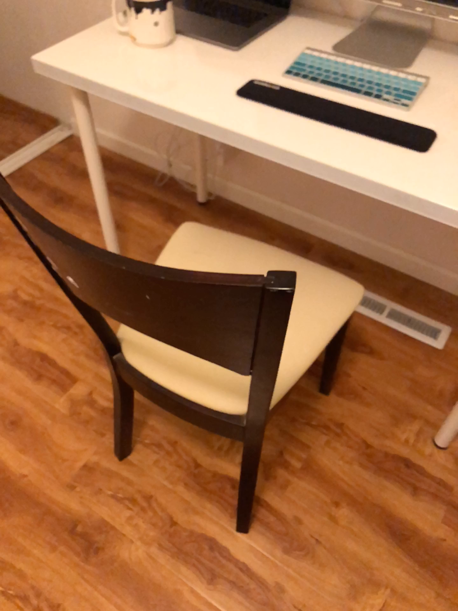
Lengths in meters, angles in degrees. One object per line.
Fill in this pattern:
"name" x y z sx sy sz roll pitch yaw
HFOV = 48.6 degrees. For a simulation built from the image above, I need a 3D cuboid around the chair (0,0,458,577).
"chair" -0.029 -0.015 1.078 0.571 0.885 0.662 25 54 20
